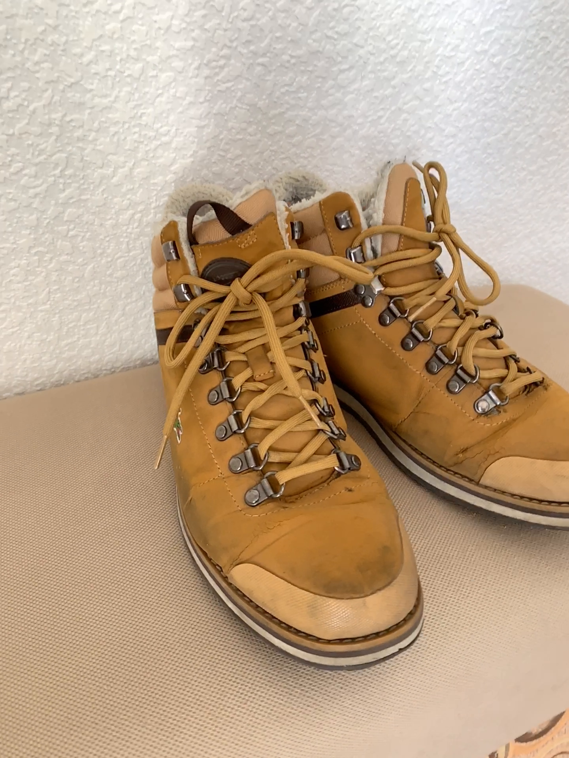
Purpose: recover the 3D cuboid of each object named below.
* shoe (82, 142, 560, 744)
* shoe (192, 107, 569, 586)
[{"bbox_3d":[-0.022,-0.007,0.326,0.120,0.149,0.301,-12,40,-16],"label":"shoe"},{"bbox_3d":[0.078,-0.050,0.376,0.120,0.149,0.301,-27,47,-30],"label":"shoe"}]
